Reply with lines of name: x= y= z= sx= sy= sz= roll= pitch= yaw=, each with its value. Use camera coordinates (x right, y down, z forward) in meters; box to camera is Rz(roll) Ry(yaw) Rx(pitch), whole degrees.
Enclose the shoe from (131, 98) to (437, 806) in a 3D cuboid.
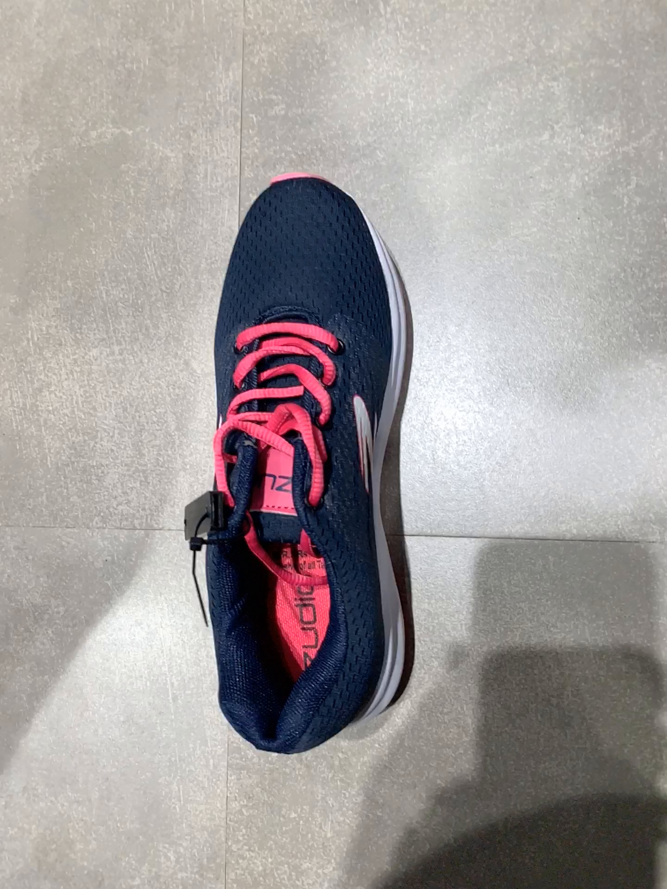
shoe: x=-0.017 y=0.004 z=0.293 sx=0.095 sy=0.090 sz=0.248 roll=-5 pitch=84 yaw=14
